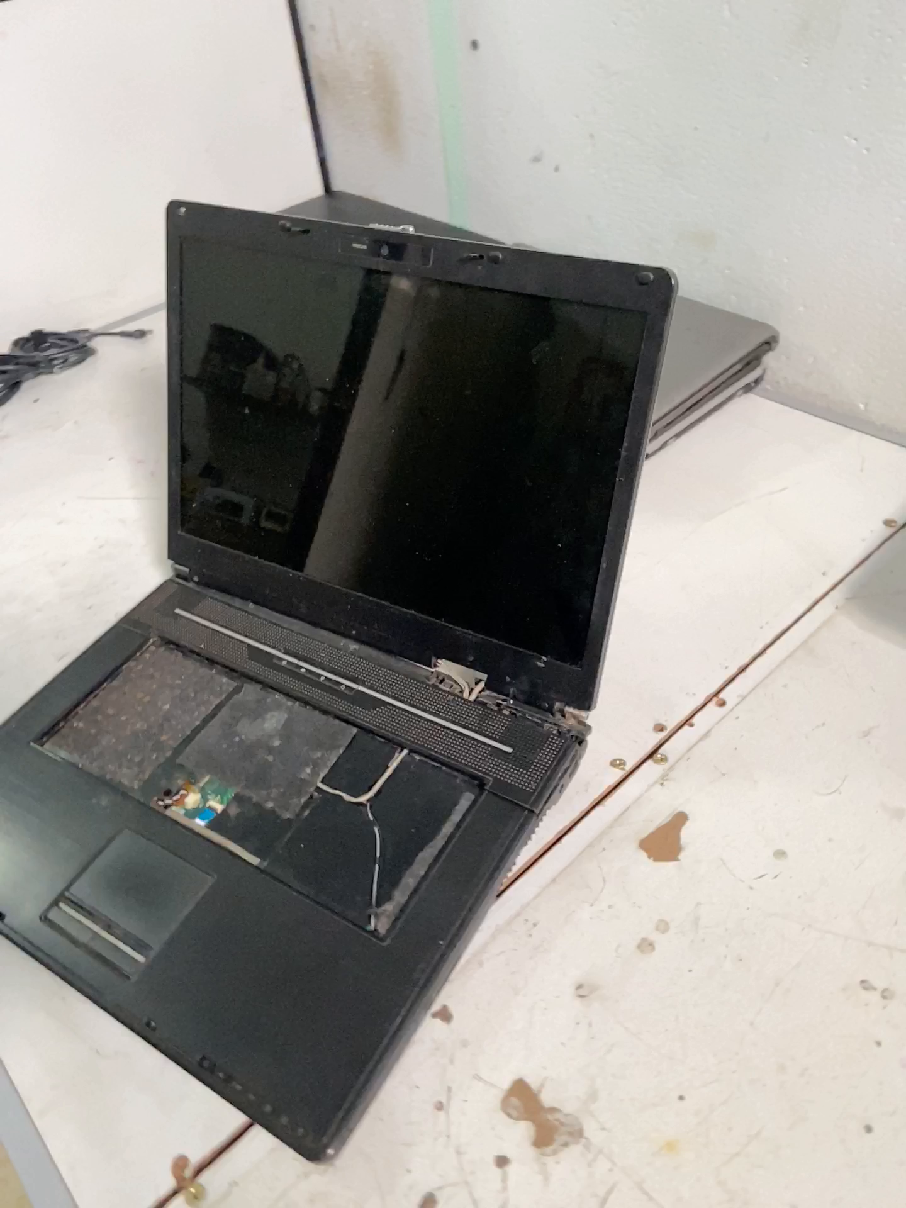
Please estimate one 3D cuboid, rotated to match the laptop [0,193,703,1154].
[{"bbox_3d":[-0.112,-0.016,0.513,0.345,0.235,0.381,19,51,28],"label":"laptop"}]
